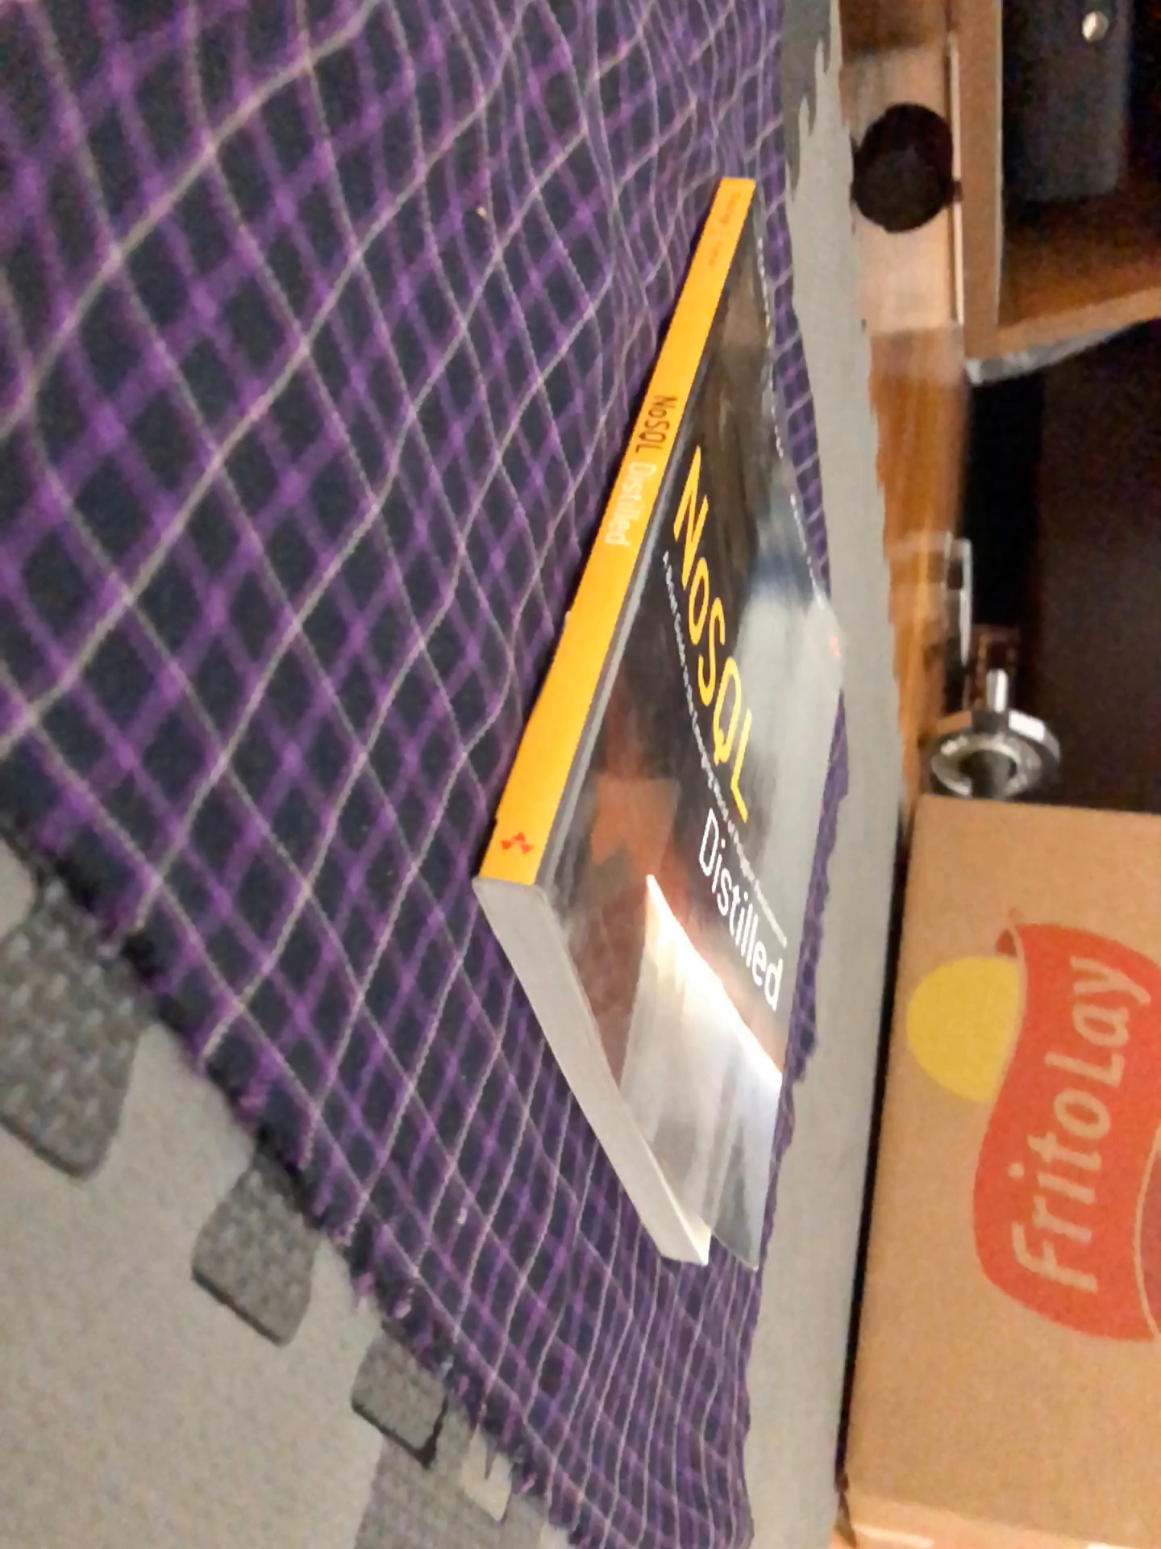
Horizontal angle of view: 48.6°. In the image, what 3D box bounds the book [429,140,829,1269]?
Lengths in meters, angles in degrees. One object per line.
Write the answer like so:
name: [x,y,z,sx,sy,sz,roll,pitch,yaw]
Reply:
book: [0.036,-0.022,0.360,0.190,0.020,0.251,69,29,-47]
